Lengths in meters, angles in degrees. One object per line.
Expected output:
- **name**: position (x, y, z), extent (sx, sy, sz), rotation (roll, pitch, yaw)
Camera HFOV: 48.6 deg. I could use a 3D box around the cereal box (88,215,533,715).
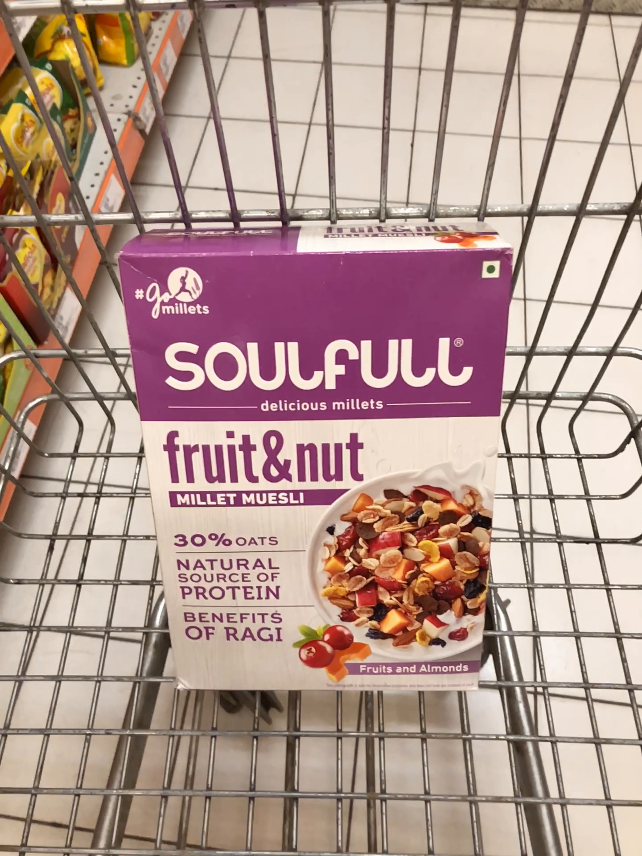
- **cereal box**: position (-0.002, 0.025, 0.352), extent (0.170, 0.239, 0.070), rotation (-1, 24, 1)
